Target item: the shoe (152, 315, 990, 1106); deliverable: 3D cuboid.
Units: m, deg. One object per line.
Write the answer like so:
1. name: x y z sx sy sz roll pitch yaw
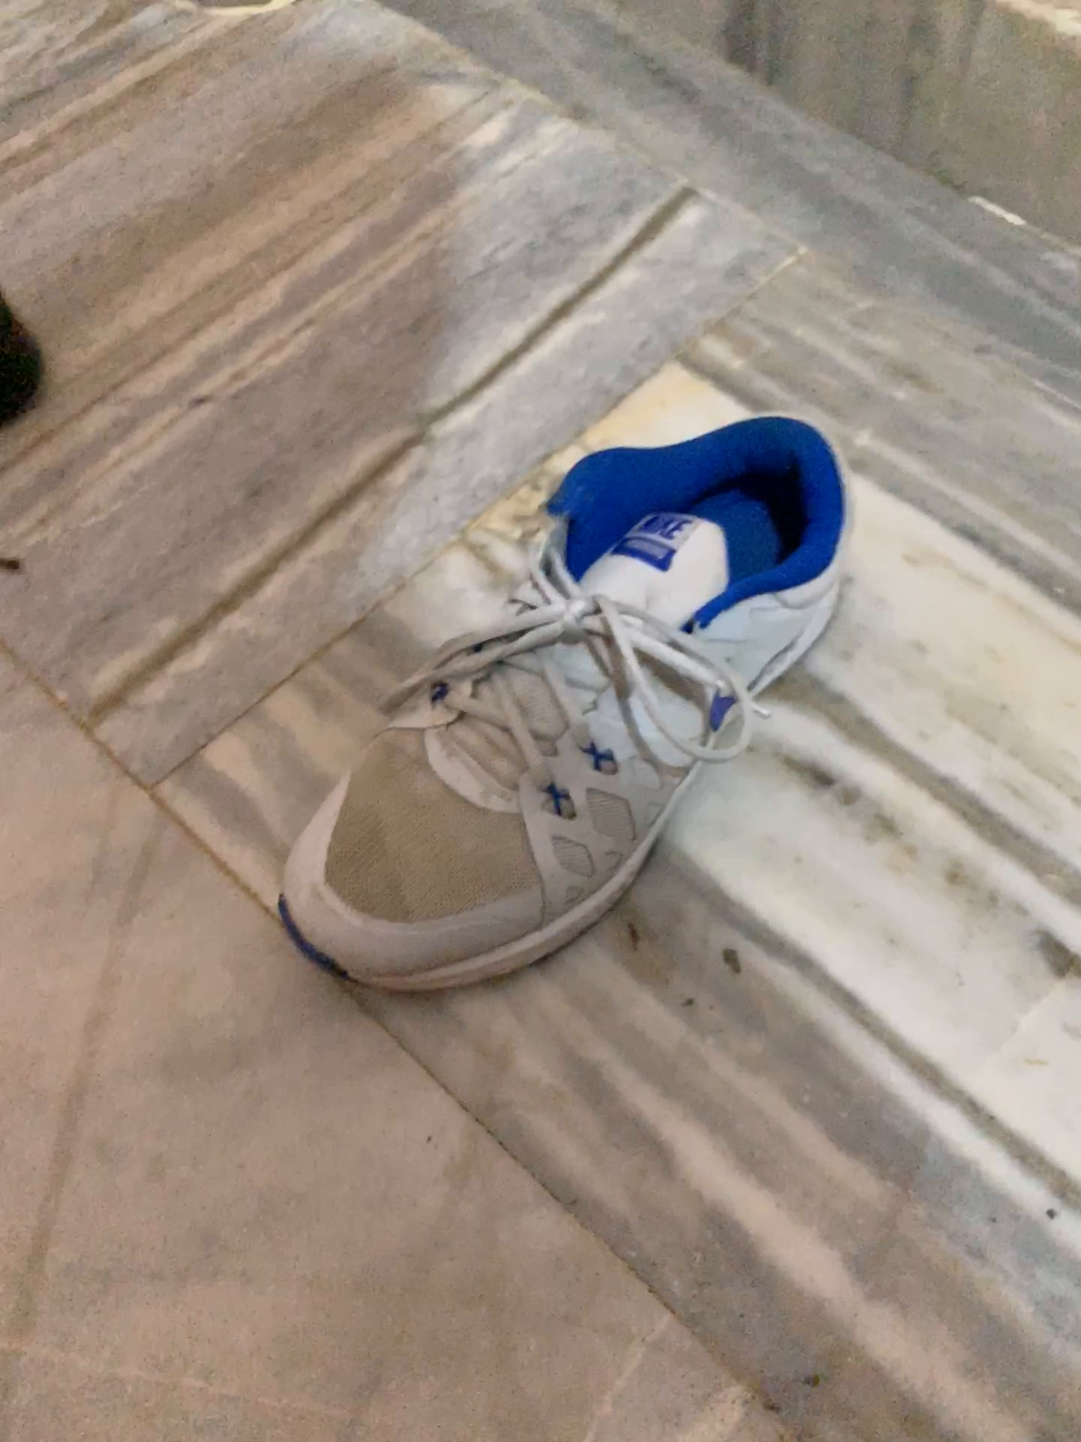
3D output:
1. shoe: 0.022 -0.013 0.434 0.116 0.100 0.299 41 69 19
